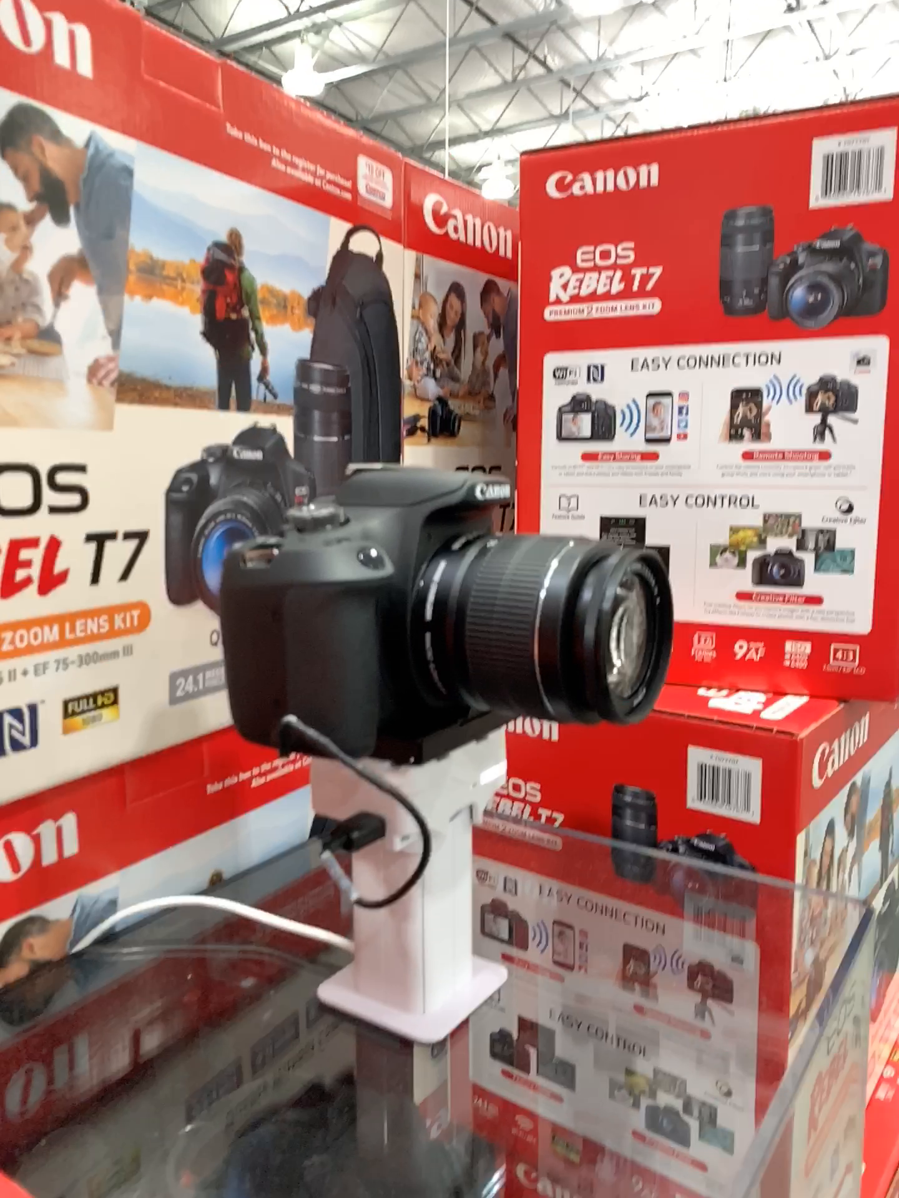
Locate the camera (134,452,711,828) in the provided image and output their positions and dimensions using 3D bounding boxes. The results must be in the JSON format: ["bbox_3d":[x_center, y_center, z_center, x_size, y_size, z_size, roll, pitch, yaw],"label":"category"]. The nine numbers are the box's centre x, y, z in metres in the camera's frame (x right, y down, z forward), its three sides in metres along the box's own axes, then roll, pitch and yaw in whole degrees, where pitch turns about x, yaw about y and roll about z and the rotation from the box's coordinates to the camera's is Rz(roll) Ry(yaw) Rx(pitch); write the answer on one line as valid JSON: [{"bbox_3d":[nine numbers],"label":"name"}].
[{"bbox_3d":[-0.007,-0.003,0.345,0.160,0.100,0.140,6,10,34],"label":"camera"}]
